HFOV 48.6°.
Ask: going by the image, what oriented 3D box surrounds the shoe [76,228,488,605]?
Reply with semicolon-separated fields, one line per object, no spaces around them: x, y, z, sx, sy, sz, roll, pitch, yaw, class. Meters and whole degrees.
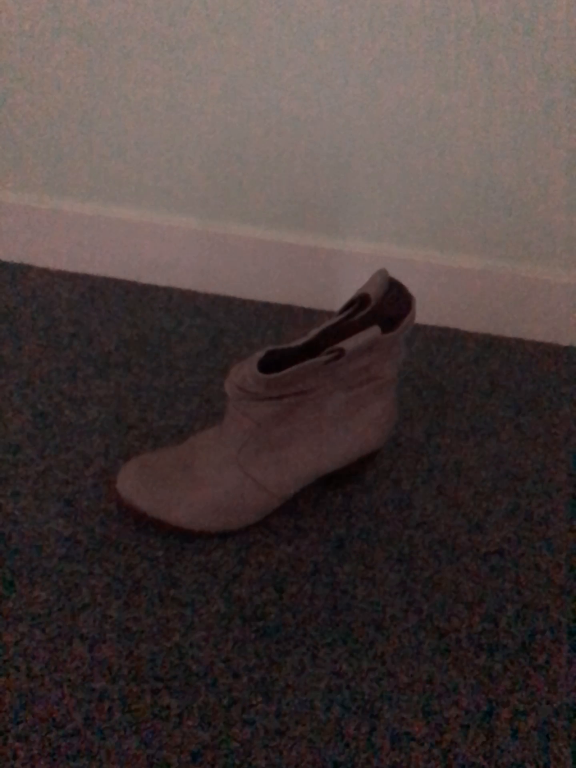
-0.014;0.023;0.488;0.241;0.219;0.130;-10;44;-16;shoe
